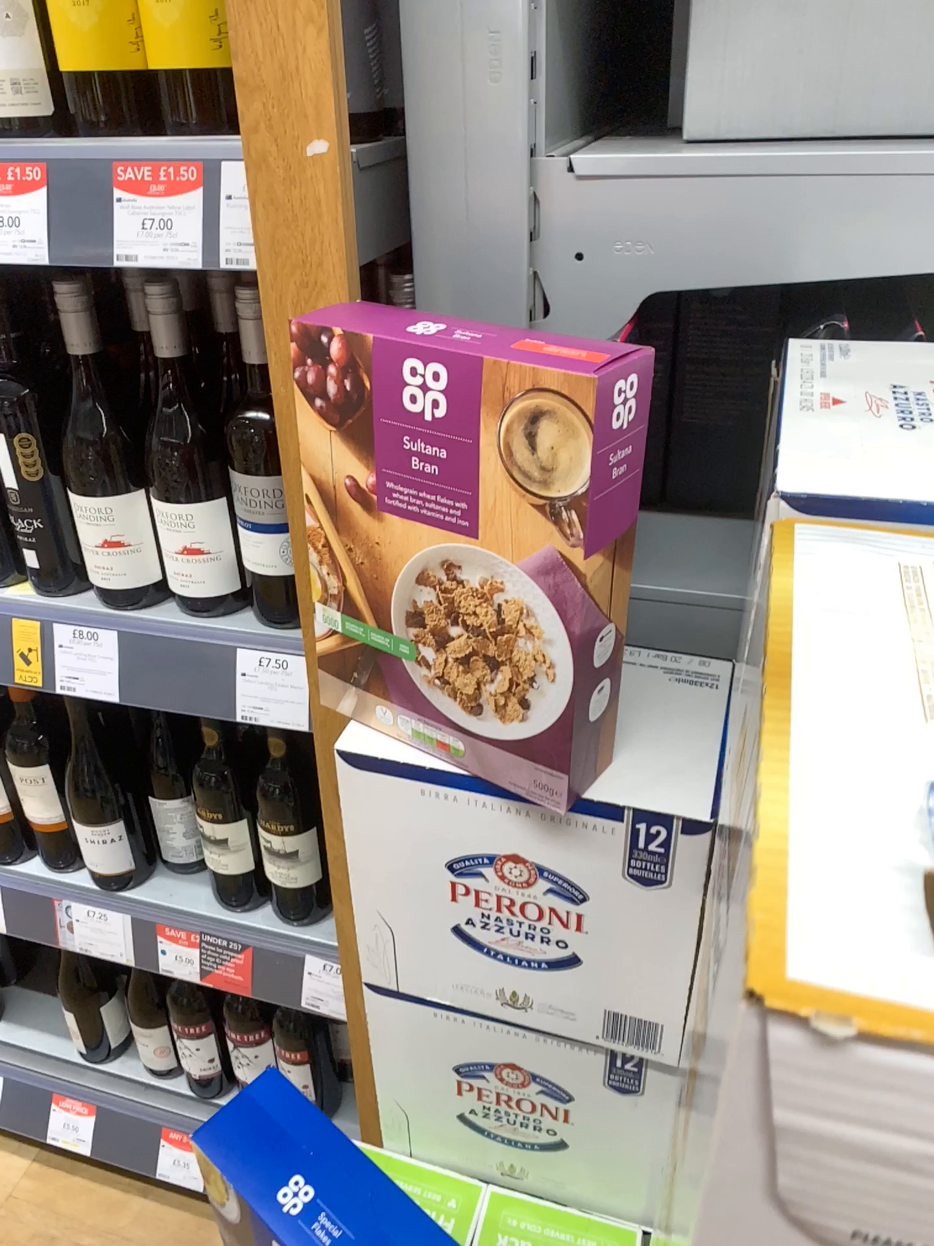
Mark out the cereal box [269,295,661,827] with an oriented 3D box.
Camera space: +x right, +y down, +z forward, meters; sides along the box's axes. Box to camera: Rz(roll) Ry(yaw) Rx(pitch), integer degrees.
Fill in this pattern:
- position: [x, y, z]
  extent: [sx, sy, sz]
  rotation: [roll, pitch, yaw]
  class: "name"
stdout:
- position: [-0.004, -0.040, 0.558]
  extent: [0.201, 0.257, 0.070]
  rotation: [20, 36, 32]
  class: "cereal box"
